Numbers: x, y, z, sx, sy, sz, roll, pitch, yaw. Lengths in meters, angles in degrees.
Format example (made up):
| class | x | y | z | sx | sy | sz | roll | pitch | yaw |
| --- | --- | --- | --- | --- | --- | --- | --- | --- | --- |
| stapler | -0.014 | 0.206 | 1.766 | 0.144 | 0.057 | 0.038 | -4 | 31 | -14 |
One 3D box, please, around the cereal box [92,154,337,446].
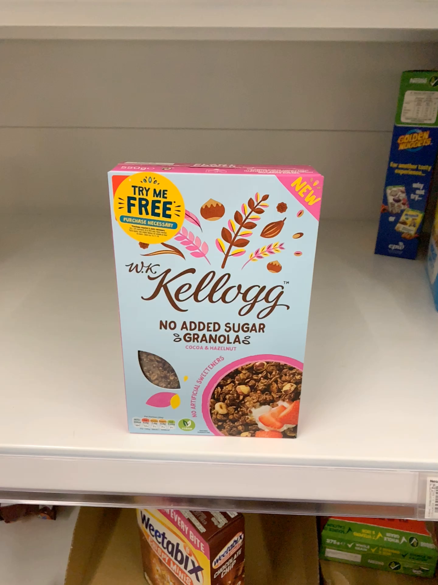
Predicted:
| class | x | y | z | sx | sy | sz | roll | pitch | yaw |
| --- | --- | --- | --- | --- | --- | --- | --- | --- | --- |
| cereal box | -0.004 | 0.015 | 0.389 | 0.170 | 0.248 | 0.050 | 1 | 25 | 2 |
